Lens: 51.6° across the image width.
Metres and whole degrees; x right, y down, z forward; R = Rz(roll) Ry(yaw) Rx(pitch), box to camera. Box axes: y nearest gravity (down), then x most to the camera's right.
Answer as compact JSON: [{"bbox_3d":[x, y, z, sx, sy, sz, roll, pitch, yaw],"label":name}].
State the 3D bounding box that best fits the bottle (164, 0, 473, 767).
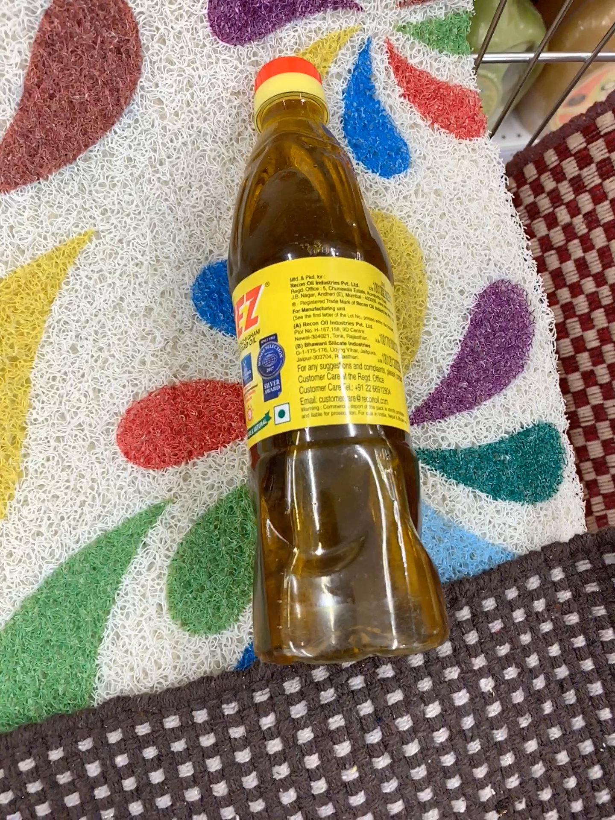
[{"bbox_3d":[-0.005,-0.015,0.195,0.070,0.060,0.200,1,79,-17],"label":"bottle"}]
